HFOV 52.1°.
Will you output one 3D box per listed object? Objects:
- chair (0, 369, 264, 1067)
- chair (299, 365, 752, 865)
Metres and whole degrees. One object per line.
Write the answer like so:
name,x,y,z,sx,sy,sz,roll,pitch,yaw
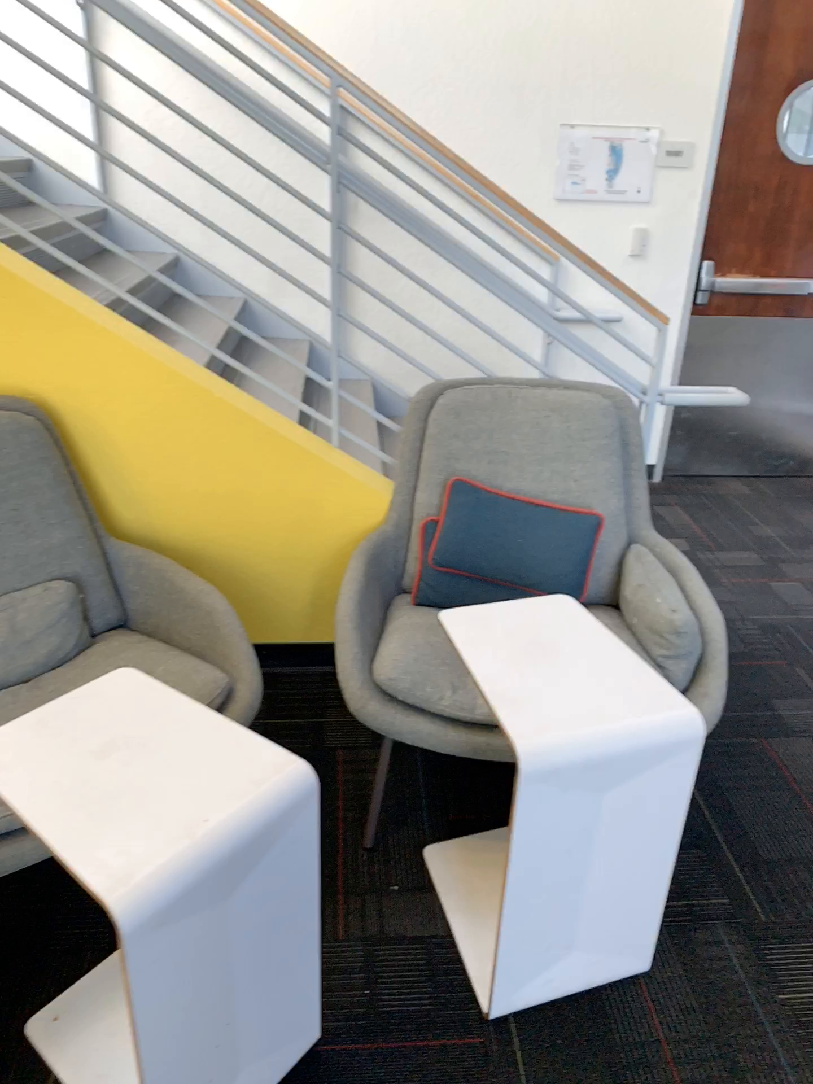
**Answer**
chair,-0.976,0.247,1.886,0.843,1.015,0.891,21,31,40
chair,0.257,0.108,2.188,0.870,0.945,0.884,4,22,6
